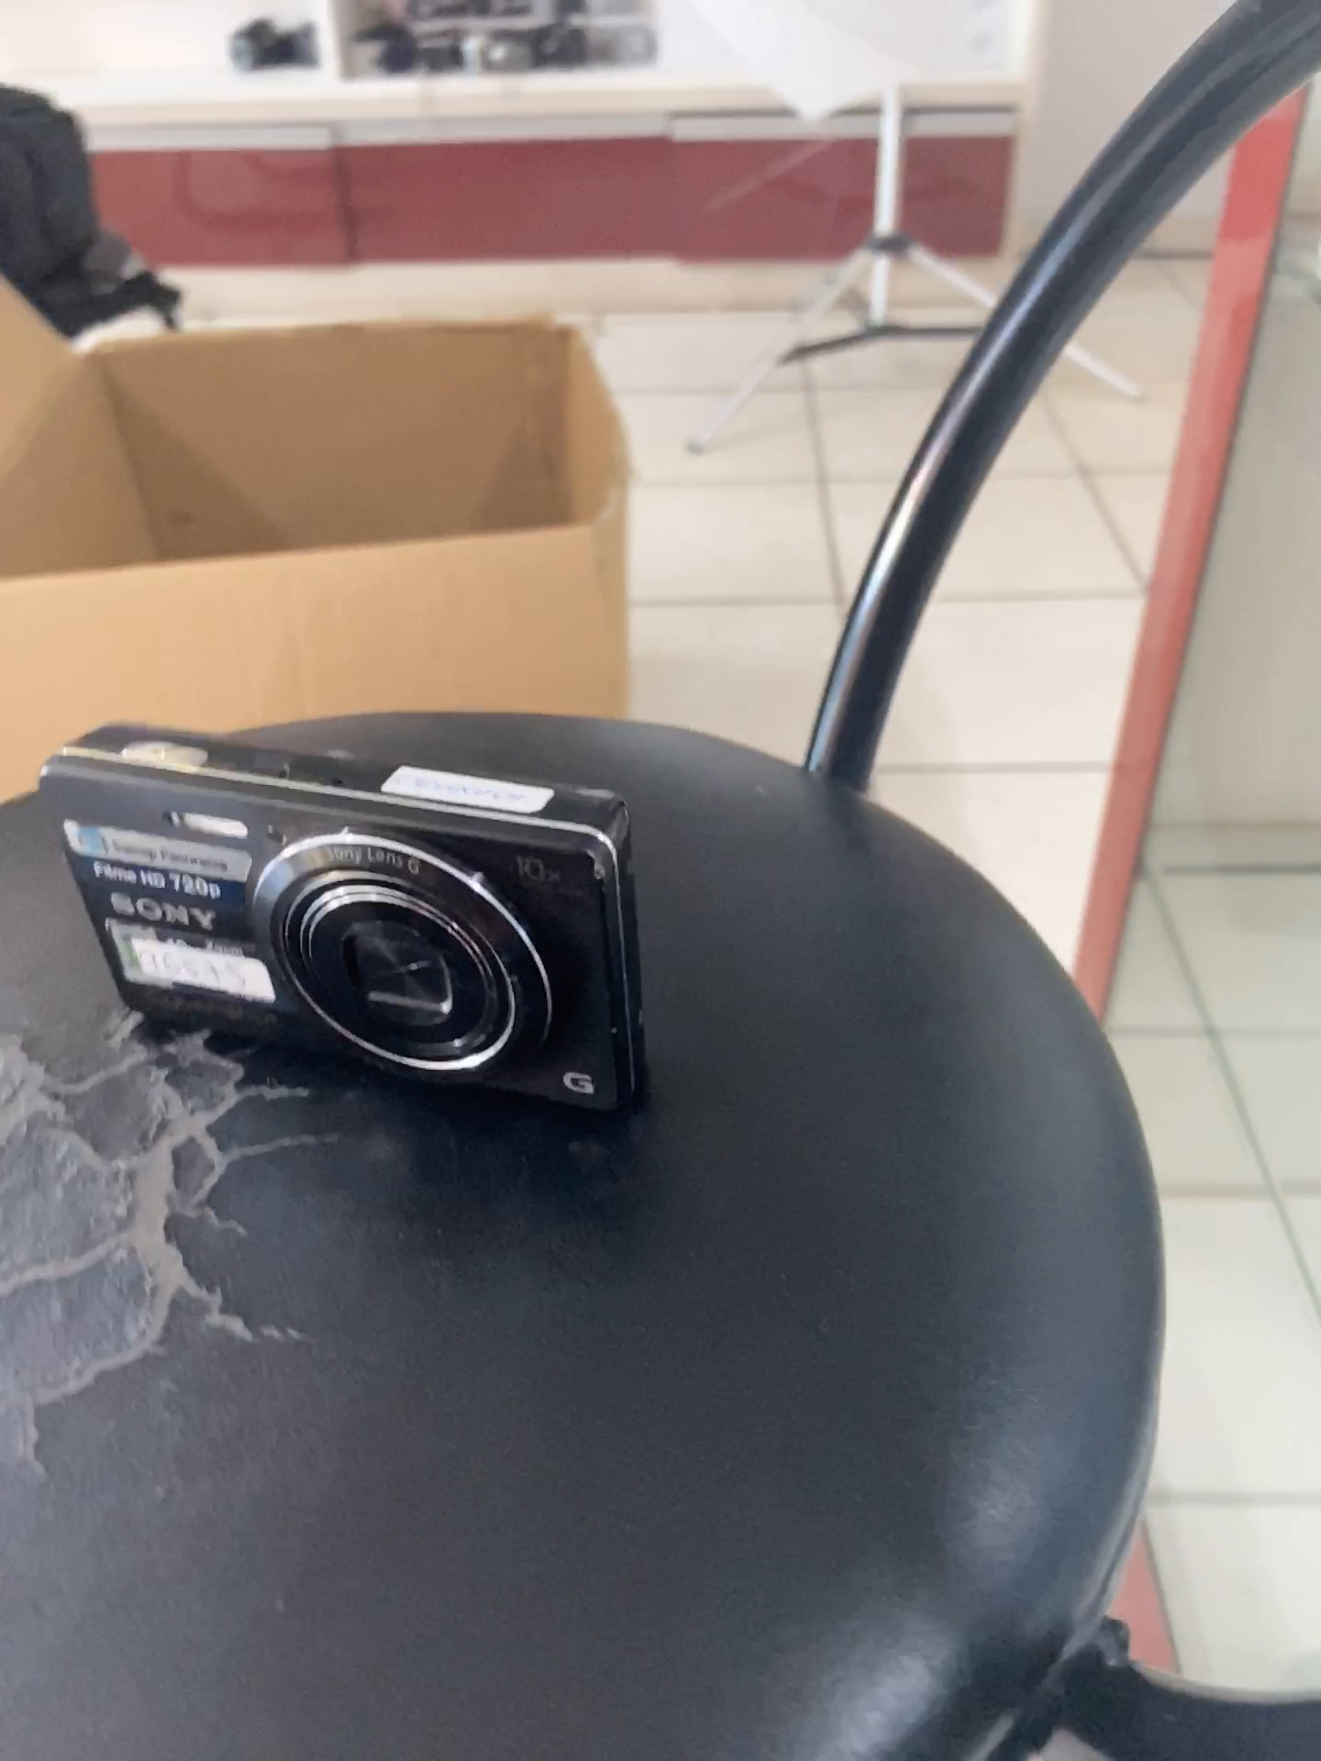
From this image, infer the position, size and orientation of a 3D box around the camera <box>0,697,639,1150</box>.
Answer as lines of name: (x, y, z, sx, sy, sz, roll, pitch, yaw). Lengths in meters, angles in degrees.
camera: (-0.054, 0.006, 0.218, 0.096, 0.051, 0.024, 11, 40, 16)
